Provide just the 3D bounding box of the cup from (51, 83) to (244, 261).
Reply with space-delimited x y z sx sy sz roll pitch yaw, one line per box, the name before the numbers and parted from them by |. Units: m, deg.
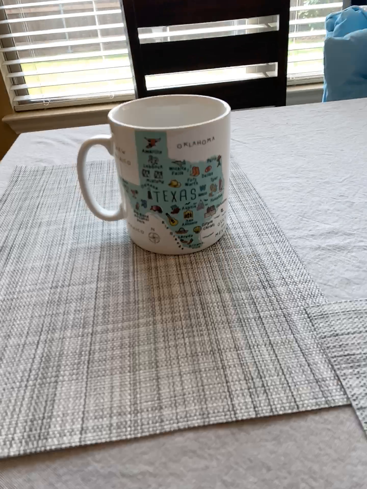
cup | -0.021 -0.077 0.380 0.150 0.136 0.112 4 35 13
